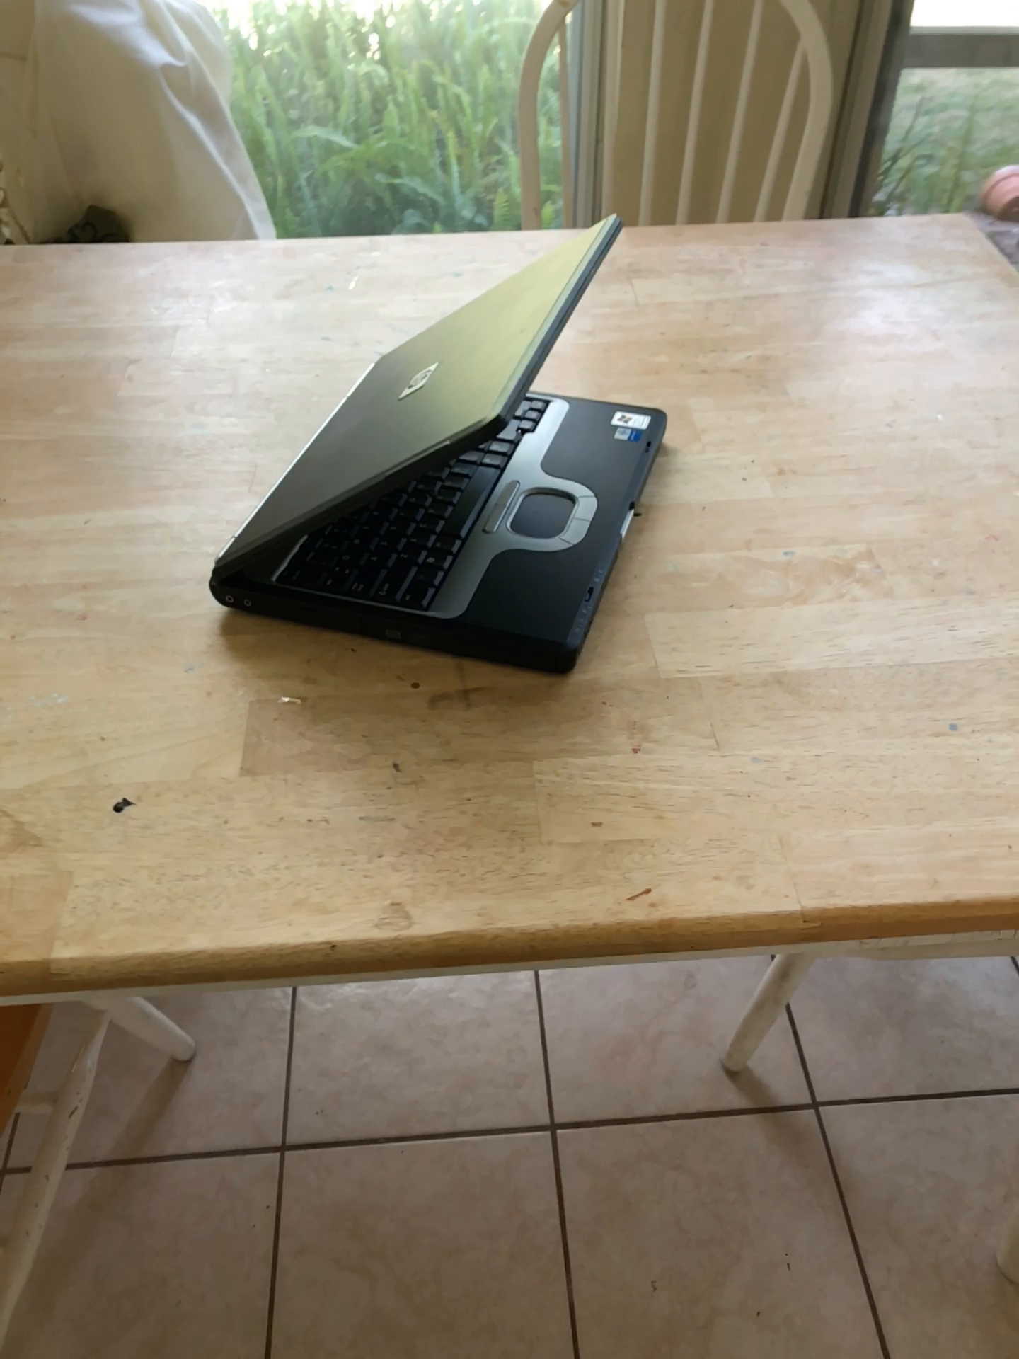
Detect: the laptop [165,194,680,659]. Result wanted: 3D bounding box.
[{"bbox_3d":[-0.041,-0.198,0.800,0.255,0.162,0.307,11,45,13],"label":"laptop"}]
